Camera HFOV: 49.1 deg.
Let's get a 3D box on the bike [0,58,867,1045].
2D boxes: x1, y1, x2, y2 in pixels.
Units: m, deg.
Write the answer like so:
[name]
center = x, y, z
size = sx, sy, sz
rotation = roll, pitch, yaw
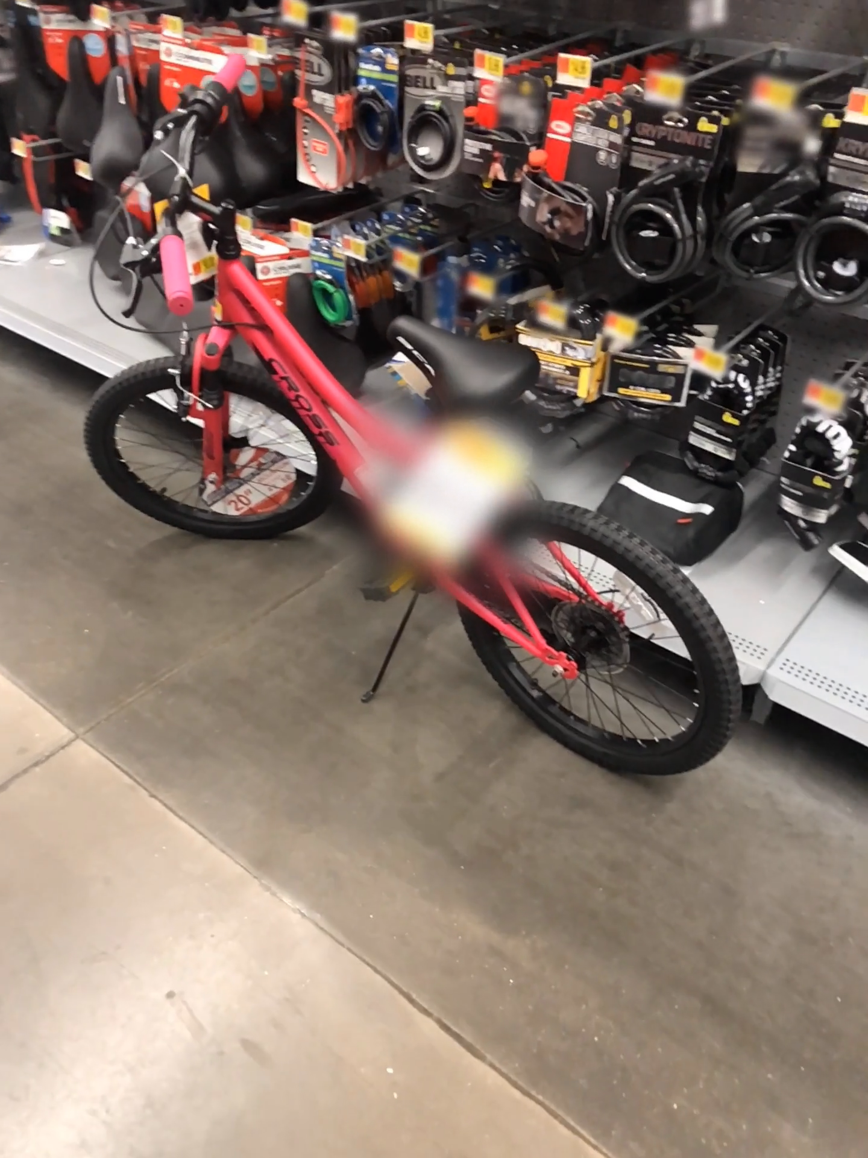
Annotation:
[bike]
center = -0.170, -0.136, 1.337
size = 1.225, 0.877, 0.610
rotation = 23, 43, 26
